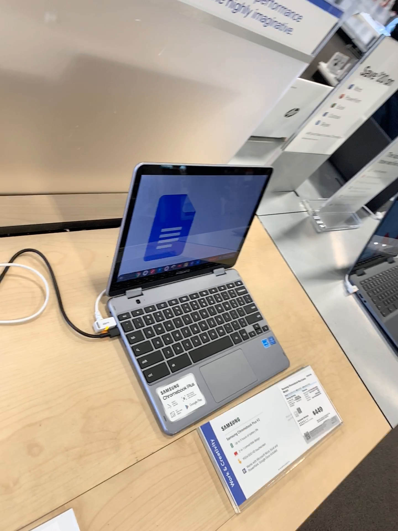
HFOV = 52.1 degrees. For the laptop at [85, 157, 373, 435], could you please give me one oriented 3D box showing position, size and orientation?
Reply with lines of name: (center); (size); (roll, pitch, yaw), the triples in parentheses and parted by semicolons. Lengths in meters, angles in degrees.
laptop: (0.042, 0.023, 0.594); (0.275, 0.181, 0.288); (-12, 67, -43)
